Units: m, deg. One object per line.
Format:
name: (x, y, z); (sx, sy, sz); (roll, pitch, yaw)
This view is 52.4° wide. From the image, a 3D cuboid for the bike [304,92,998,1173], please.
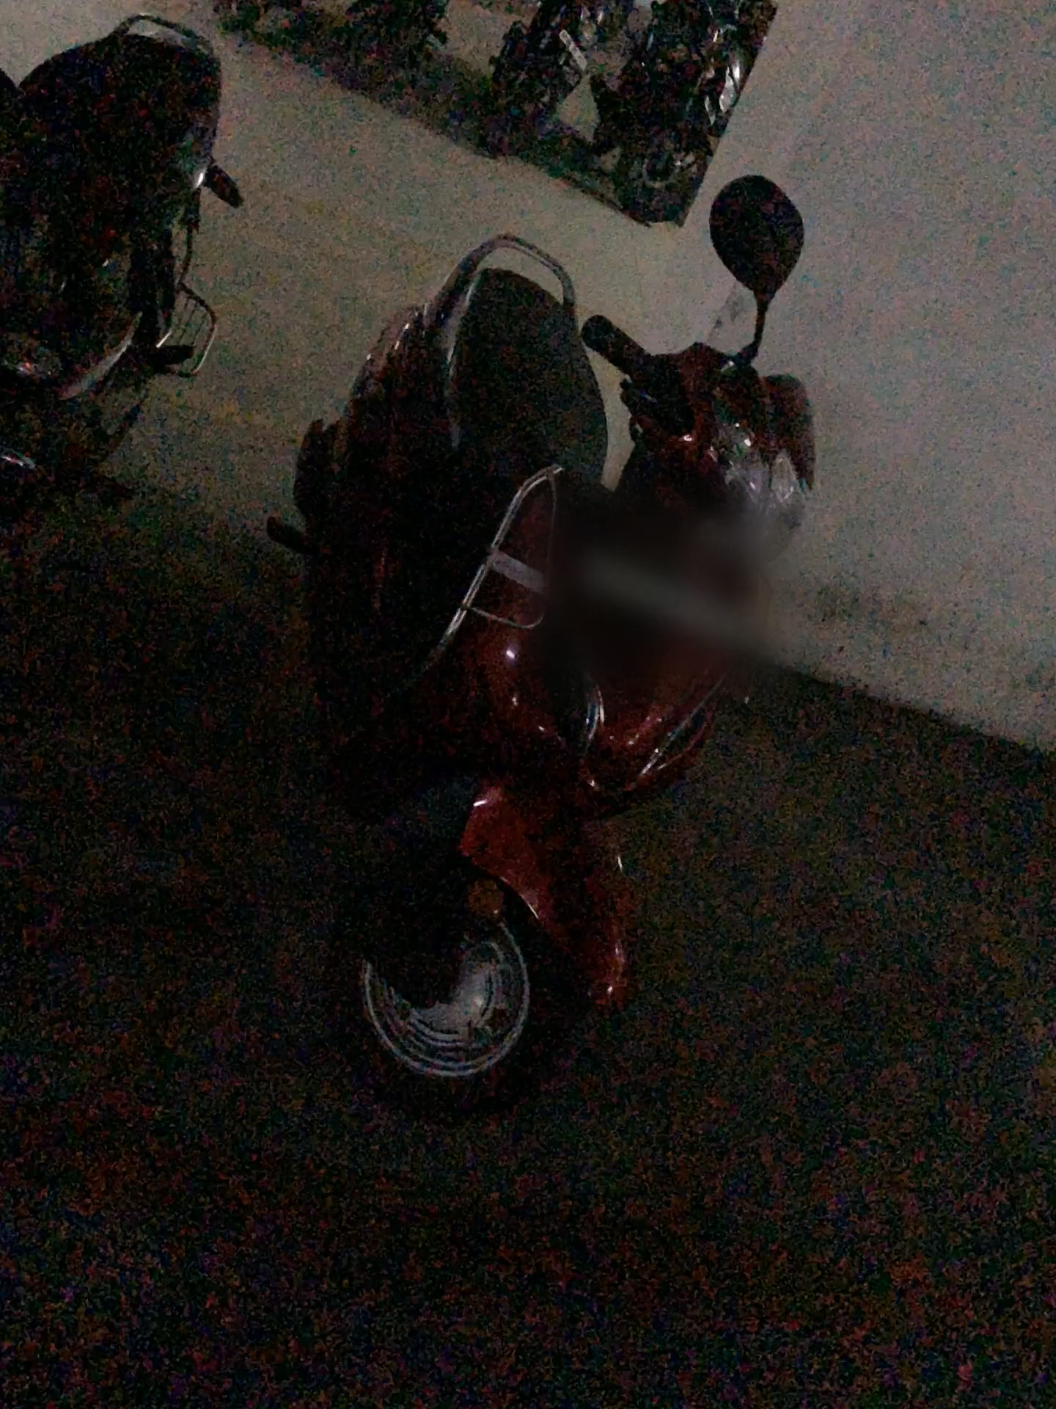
bike: (0.051, -0.140, 1.905); (0.487, 0.909, 1.394); (2, 51, -29)
